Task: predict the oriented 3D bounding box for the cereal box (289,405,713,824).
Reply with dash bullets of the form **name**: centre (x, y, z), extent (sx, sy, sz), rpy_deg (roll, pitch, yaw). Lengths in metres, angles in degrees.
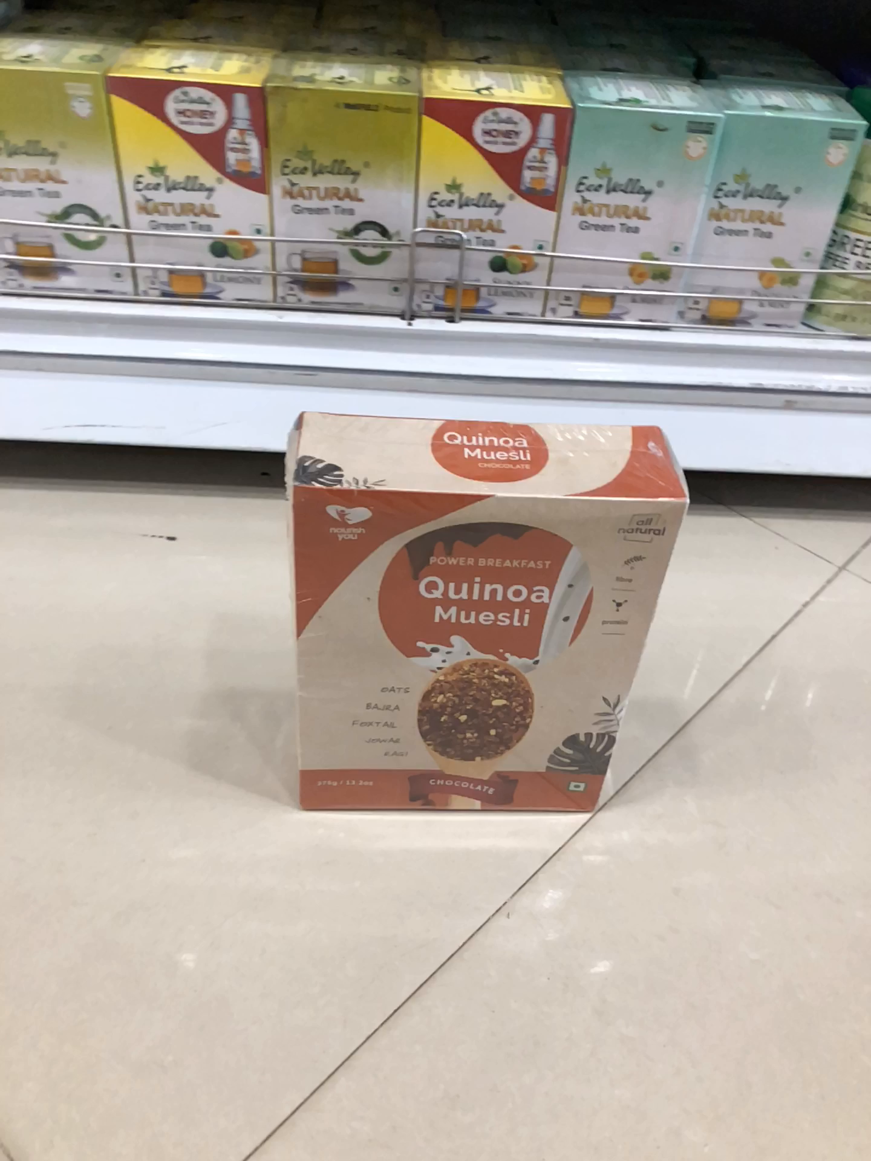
- **cereal box**: centre (0.016, 0.029, 0.450), extent (0.160, 0.219, 0.050), rpy_deg (2, 42, -5)
